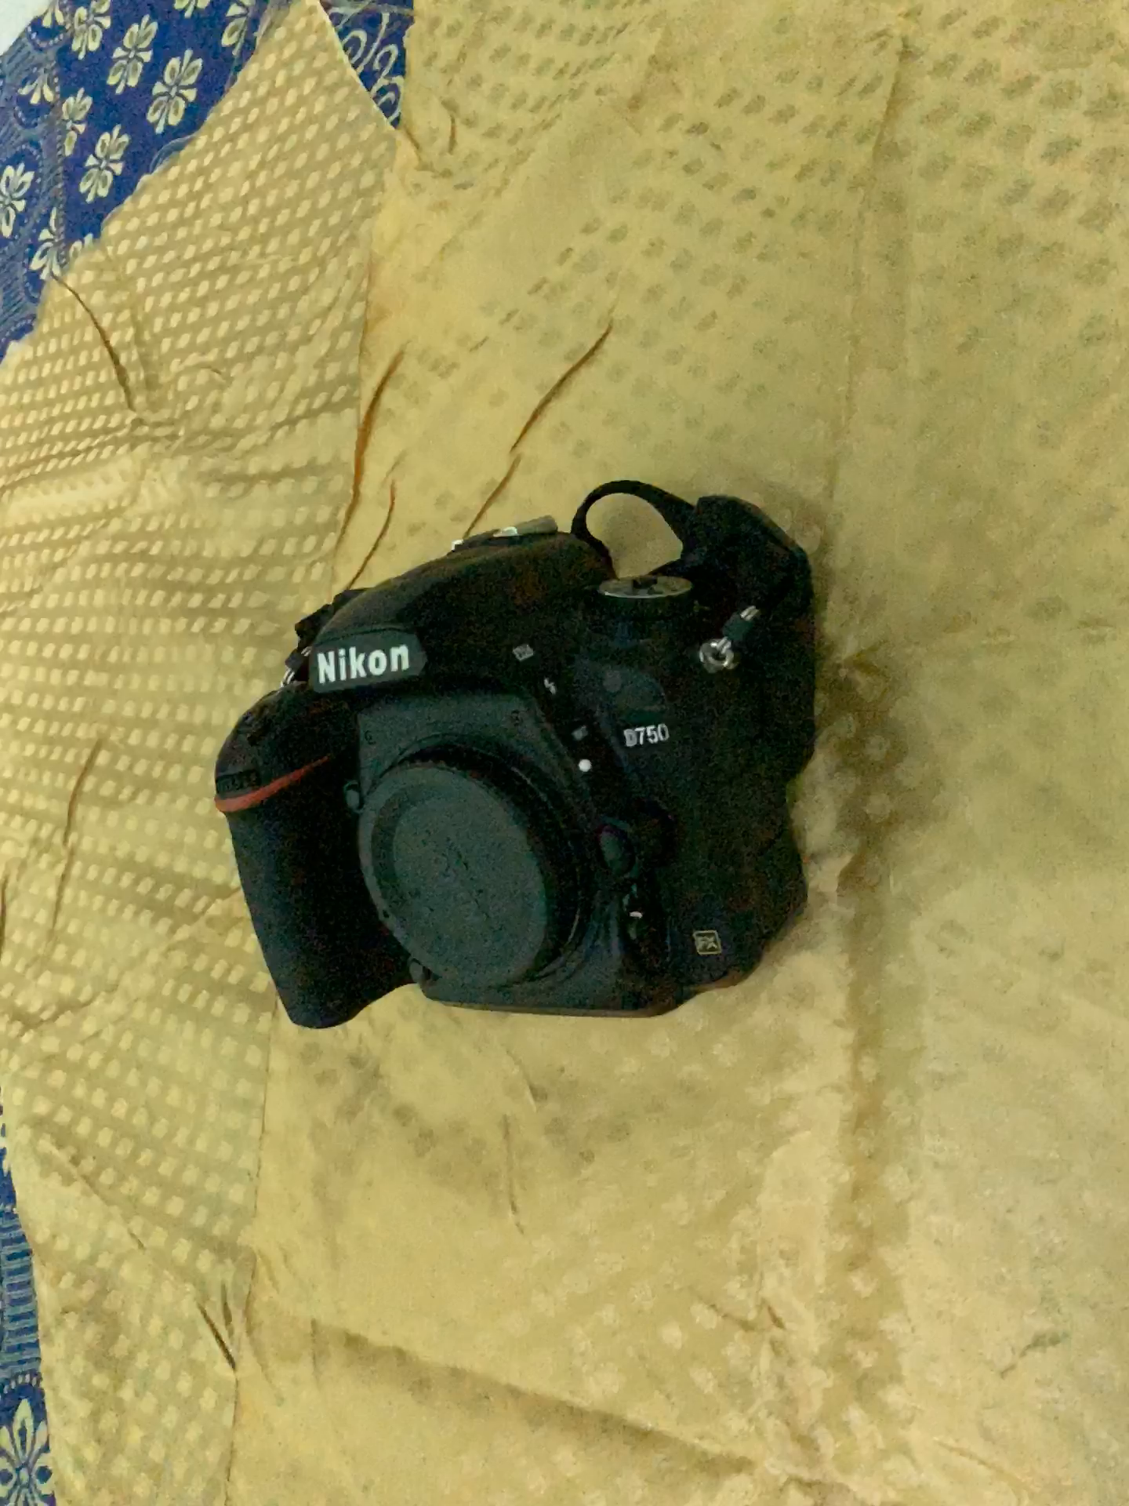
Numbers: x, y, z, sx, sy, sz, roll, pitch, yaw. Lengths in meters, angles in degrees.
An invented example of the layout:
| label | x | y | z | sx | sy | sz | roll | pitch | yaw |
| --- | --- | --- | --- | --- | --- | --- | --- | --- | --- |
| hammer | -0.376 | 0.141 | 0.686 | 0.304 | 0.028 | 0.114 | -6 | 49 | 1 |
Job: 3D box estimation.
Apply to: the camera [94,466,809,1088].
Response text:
| label | x | y | z | sx | sy | sz | roll | pitch | yaw |
| --- | --- | --- | --- | --- | --- | --- | --- | --- | --- |
| camera | -0.027 | 0.006 | 0.280 | 0.131 | 0.073 | 0.110 | -5 | 107 | 37 |
